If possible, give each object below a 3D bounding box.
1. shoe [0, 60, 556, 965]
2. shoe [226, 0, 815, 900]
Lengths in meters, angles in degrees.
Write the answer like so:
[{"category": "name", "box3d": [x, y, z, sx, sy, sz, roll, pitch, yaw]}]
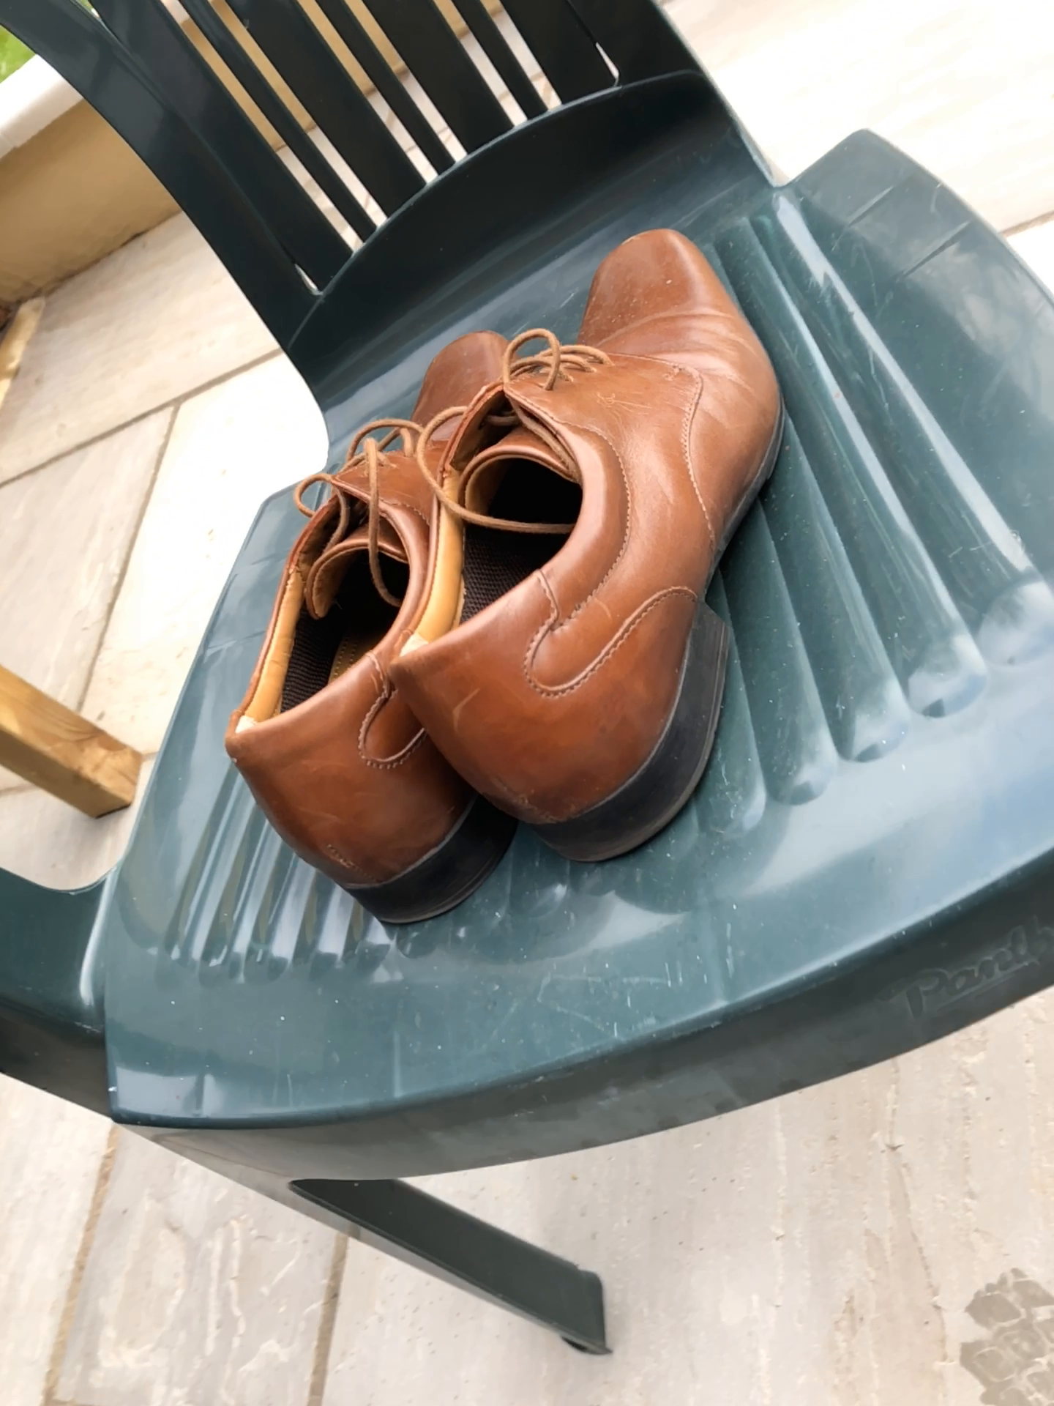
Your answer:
[{"category": "shoe", "box3d": [-0.068, -0.073, 0.413, 0.110, 0.109, 0.291, -19, 52, 29]}, {"category": "shoe", "box3d": [0.010, -0.096, 0.372, 0.110, 0.109, 0.281, -16, 54, 31]}]
